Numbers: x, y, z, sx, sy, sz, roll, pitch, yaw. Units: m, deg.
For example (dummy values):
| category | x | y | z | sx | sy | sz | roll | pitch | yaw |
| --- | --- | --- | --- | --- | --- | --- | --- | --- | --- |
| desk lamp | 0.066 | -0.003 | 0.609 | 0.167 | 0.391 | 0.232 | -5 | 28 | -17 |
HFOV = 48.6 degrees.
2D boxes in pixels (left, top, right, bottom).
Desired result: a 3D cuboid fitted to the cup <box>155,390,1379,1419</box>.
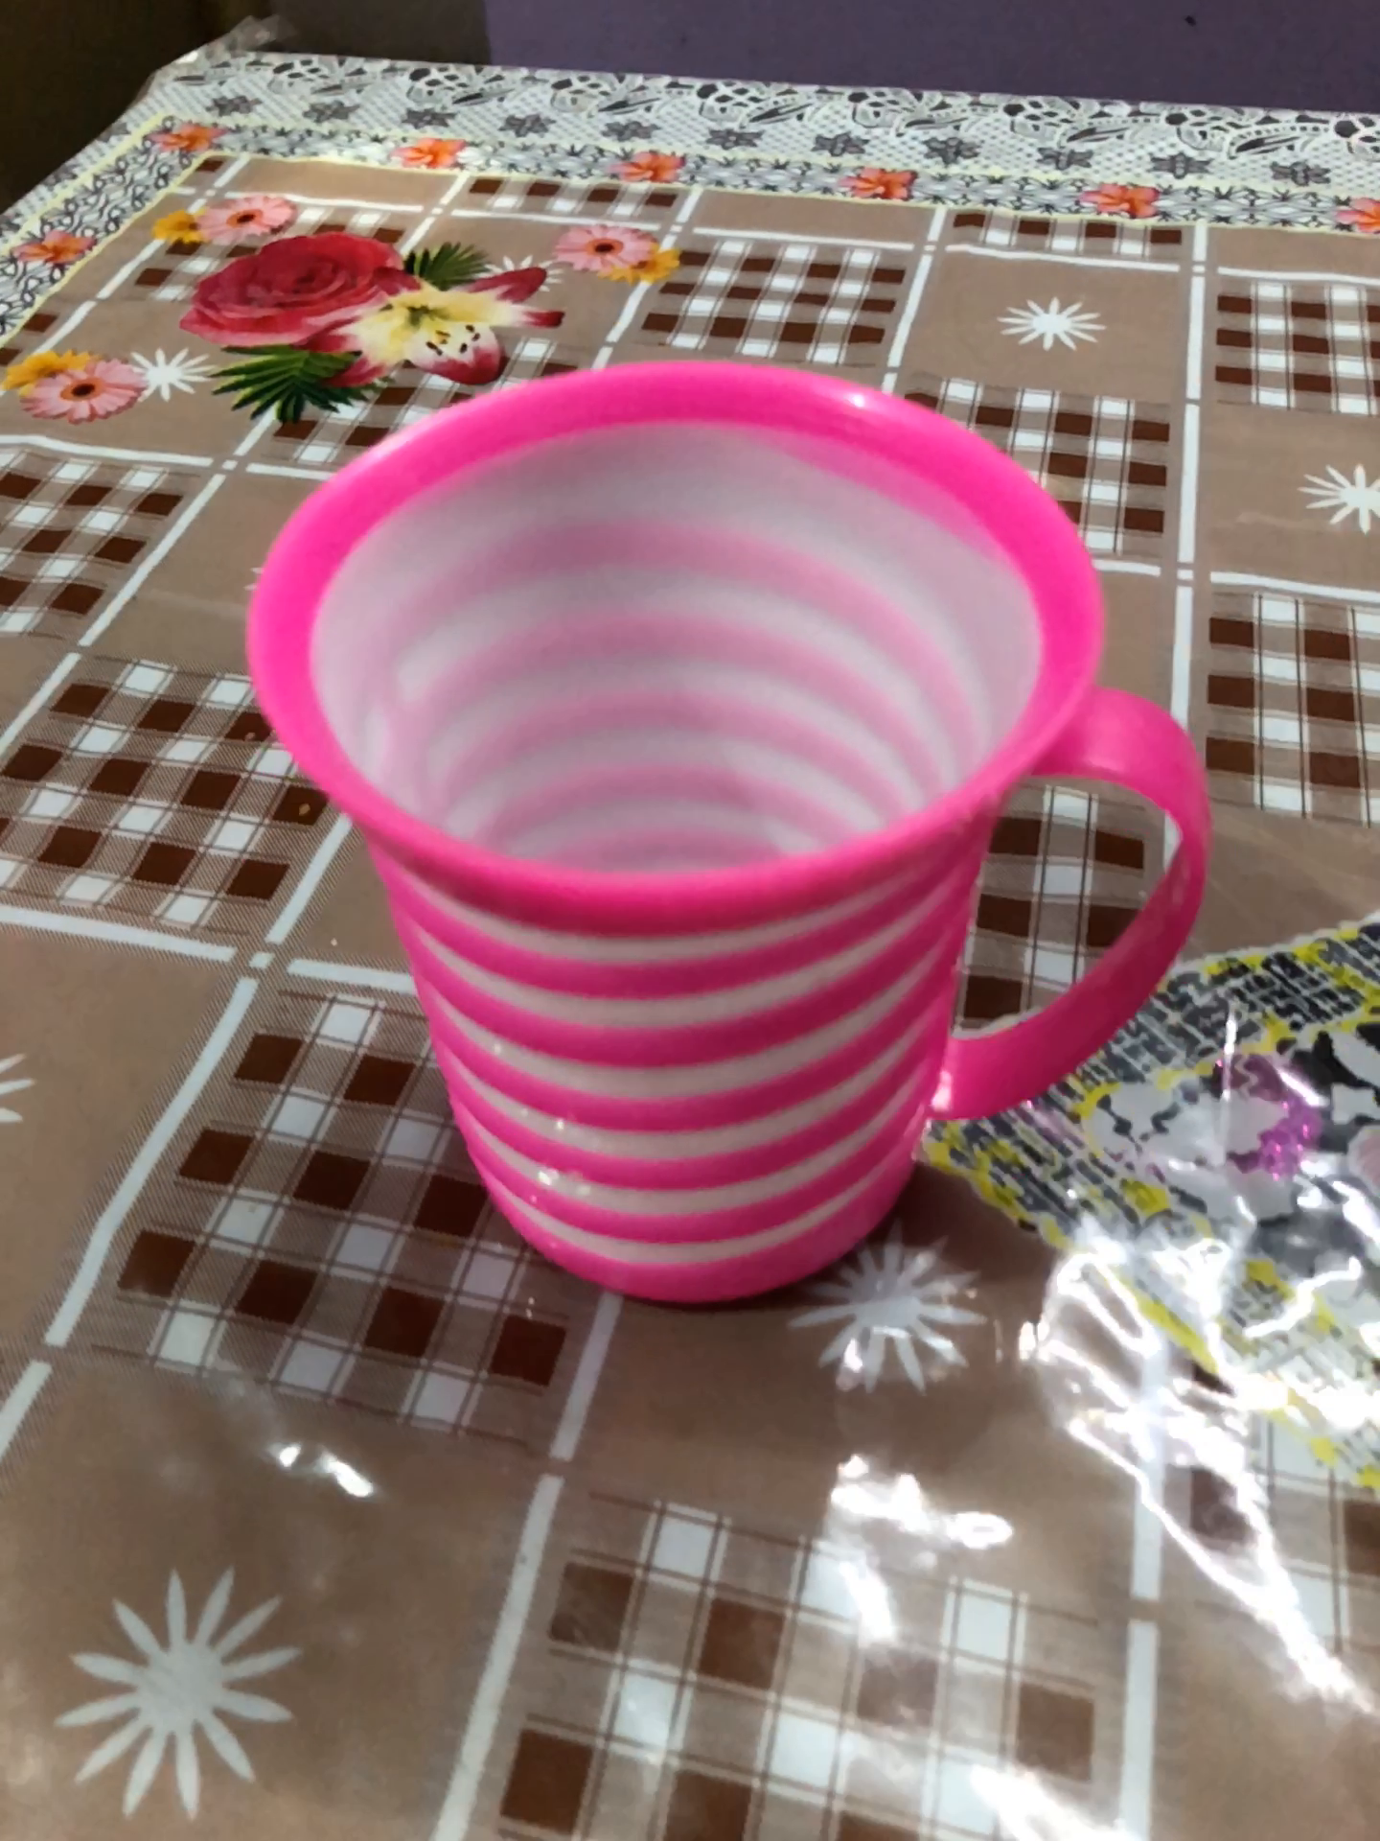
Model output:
| category | x | y | z | sx | sy | sz | roll | pitch | yaw |
| --- | --- | --- | --- | --- | --- | --- | --- | --- | --- |
| cup | 0.014 | 0.000 | 0.179 | 0.110 | 0.090 | 0.080 | 0 | 47 | 1 |
